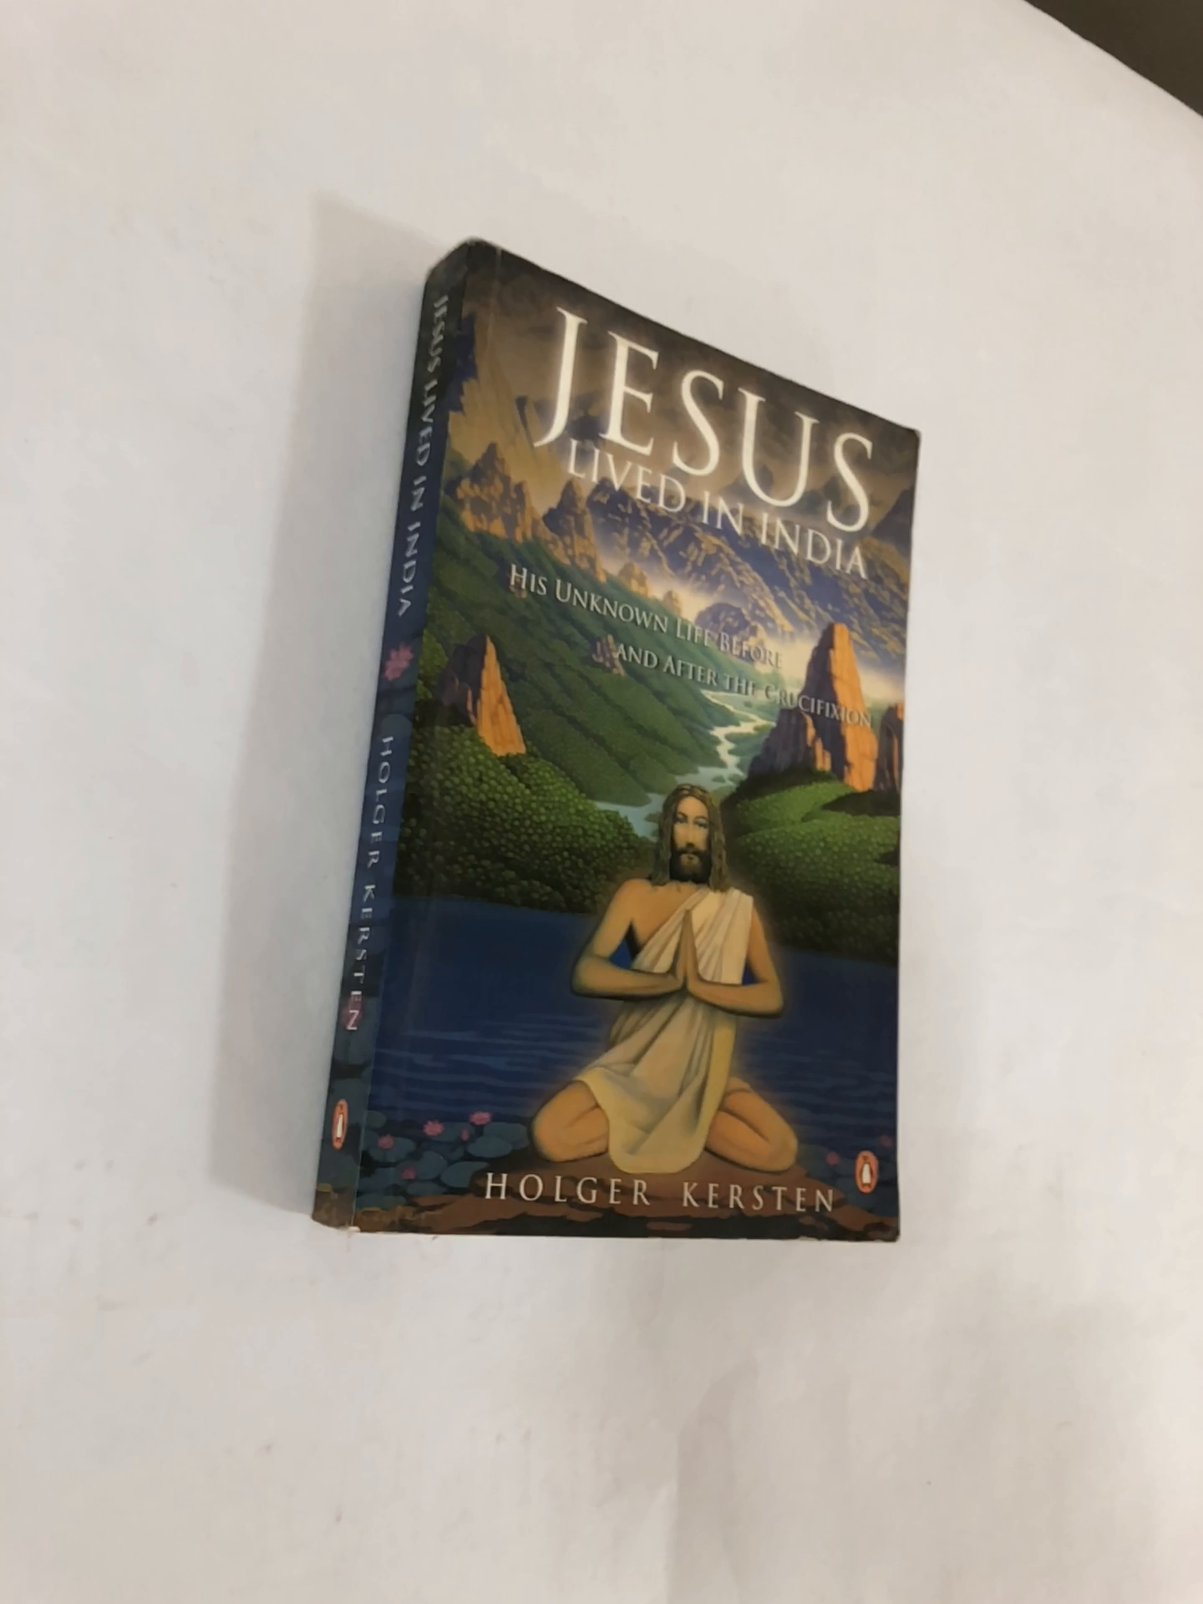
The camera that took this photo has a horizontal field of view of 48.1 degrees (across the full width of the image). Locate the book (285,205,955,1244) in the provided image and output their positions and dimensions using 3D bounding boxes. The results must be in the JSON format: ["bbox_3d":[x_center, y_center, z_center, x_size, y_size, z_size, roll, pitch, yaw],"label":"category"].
[{"bbox_3d":[0.017,-0.009,0.315,0.150,0.030,0.210,12,75,-31],"label":"book"}]
